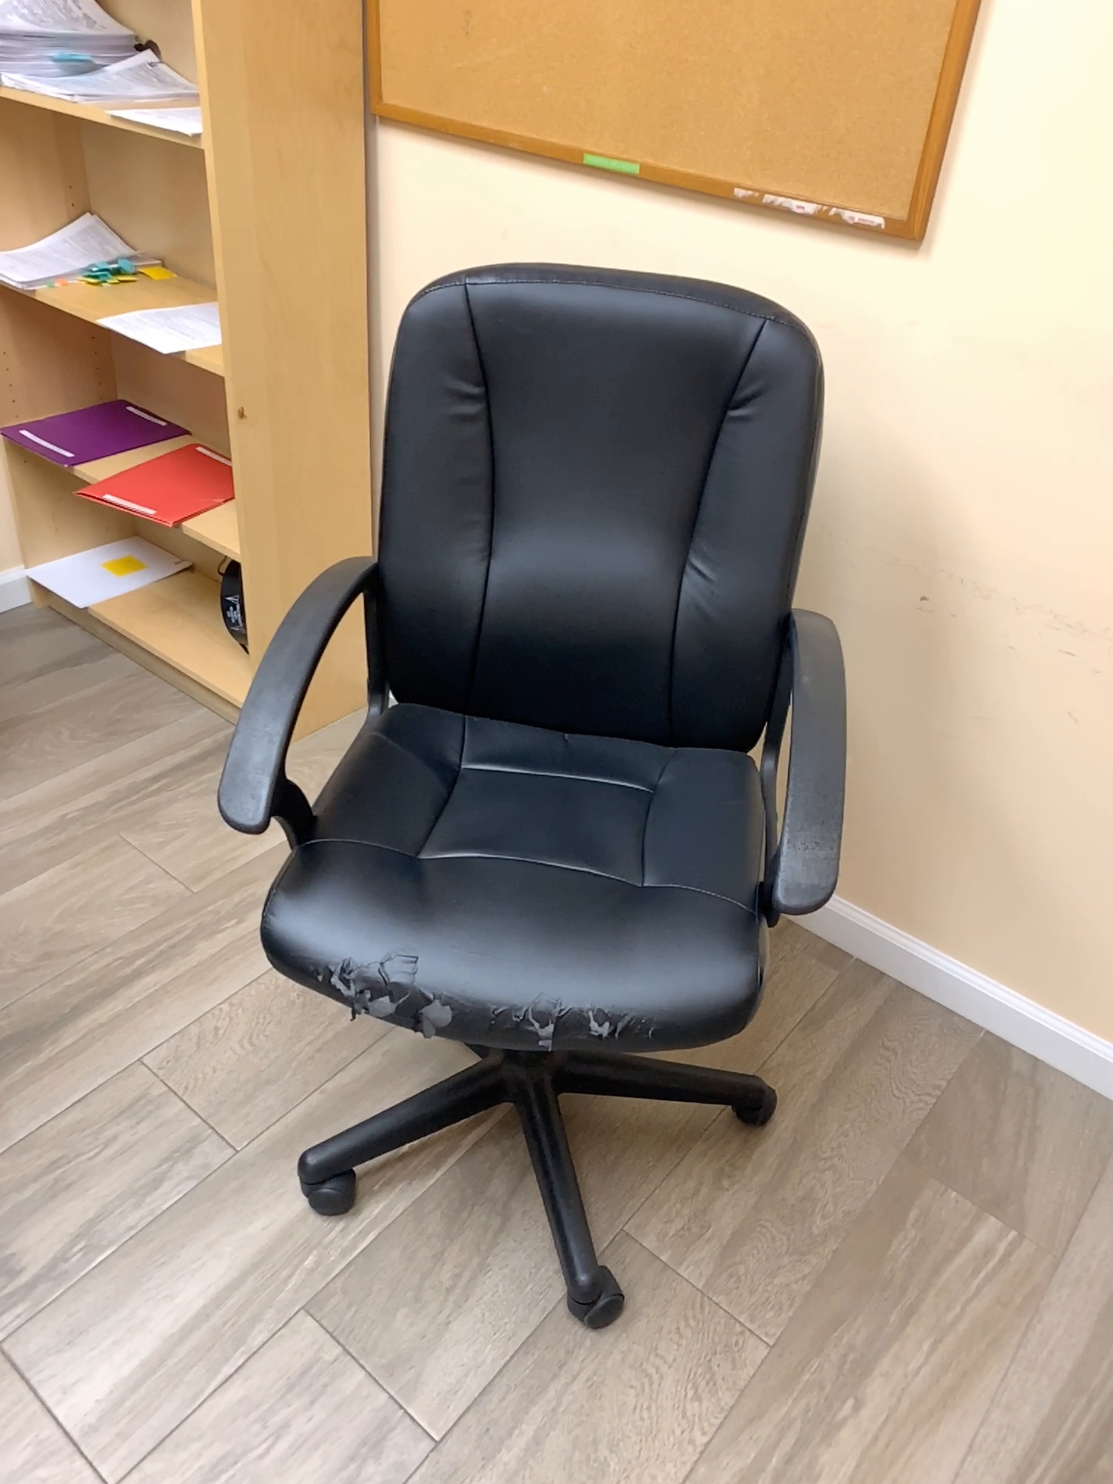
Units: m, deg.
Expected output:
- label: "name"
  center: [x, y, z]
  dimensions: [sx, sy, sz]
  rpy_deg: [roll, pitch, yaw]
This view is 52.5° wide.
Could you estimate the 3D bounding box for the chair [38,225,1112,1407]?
- label: "chair"
  center: [0.015, 0.077, 1.215]
  dimensions: [0.682, 0.986, 0.648]
  rpy_deg: [9, 35, 3]
